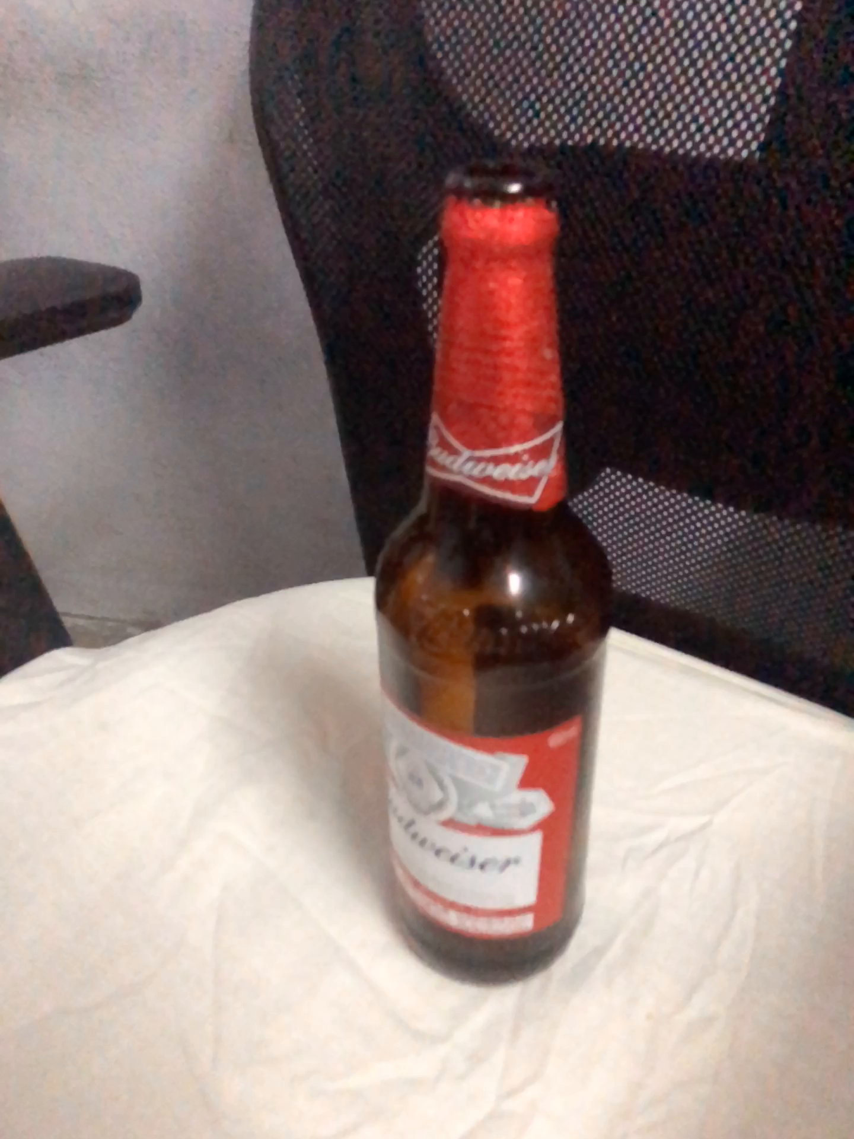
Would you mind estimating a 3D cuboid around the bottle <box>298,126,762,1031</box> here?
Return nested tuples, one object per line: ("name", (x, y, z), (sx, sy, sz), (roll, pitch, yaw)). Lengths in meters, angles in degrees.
("bottle", (0.026, 0.022, 0.294), (0.080, 0.279, 0.070), (24, 43, 30))
